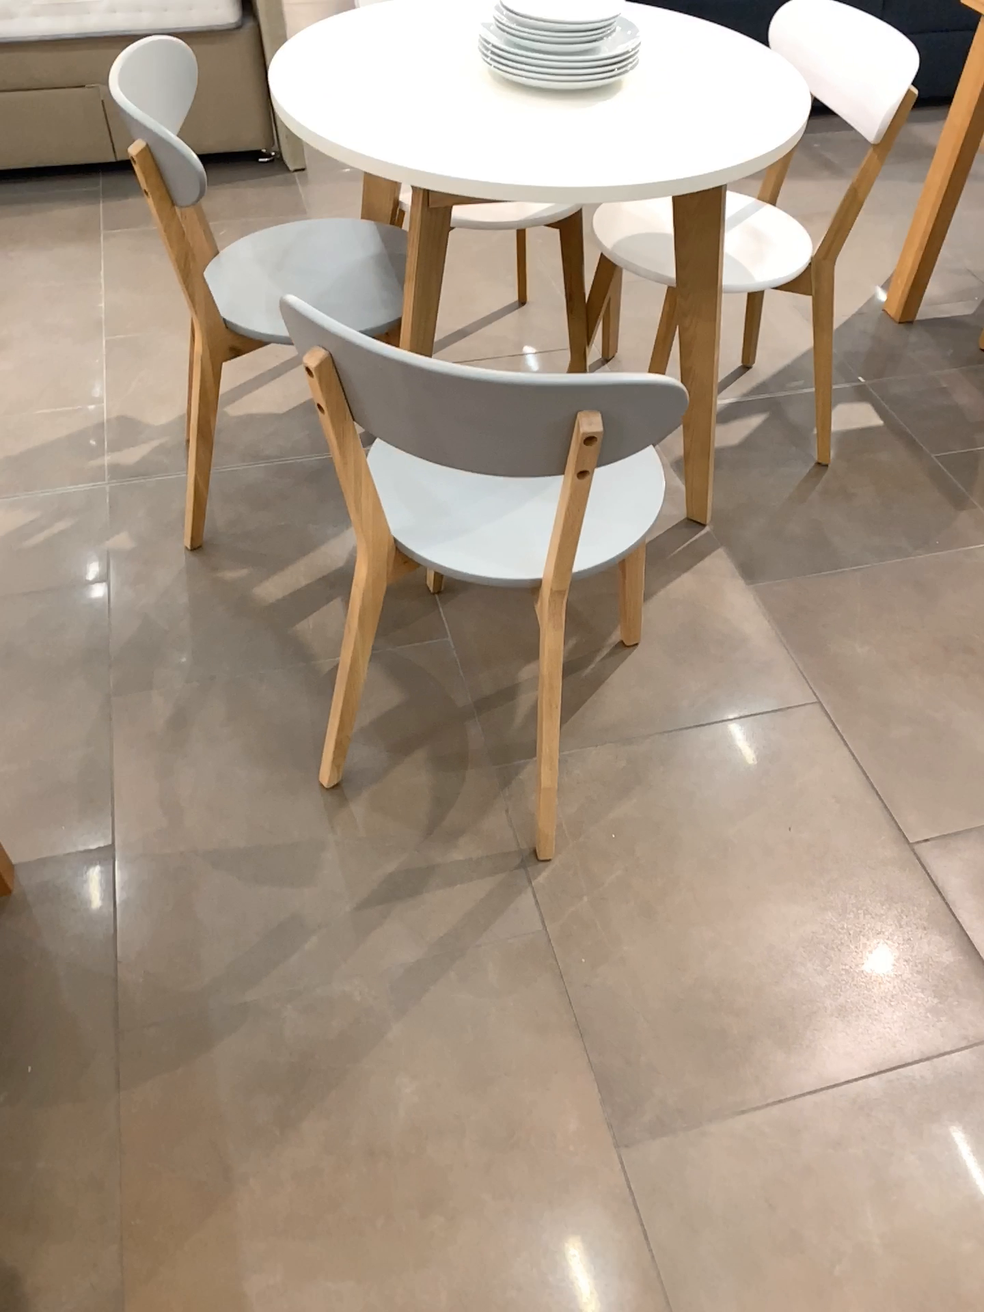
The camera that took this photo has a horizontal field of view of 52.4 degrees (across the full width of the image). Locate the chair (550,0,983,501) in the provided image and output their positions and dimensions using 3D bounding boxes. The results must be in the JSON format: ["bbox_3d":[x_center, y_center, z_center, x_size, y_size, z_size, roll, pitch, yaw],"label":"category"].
[{"bbox_3d":[0.476,-0.830,2.055,0.540,0.798,0.524,-8,48,-10],"label":"chair"}]

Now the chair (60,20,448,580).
[{"bbox_3d":[-0.403,-0.650,1.879,0.541,0.798,0.524,-9,48,-11],"label":"chair"}]

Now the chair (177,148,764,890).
[{"bbox_3d":[-0.001,-0.172,1.431,0.519,0.798,0.535,15,48,12],"label":"chair"}]
